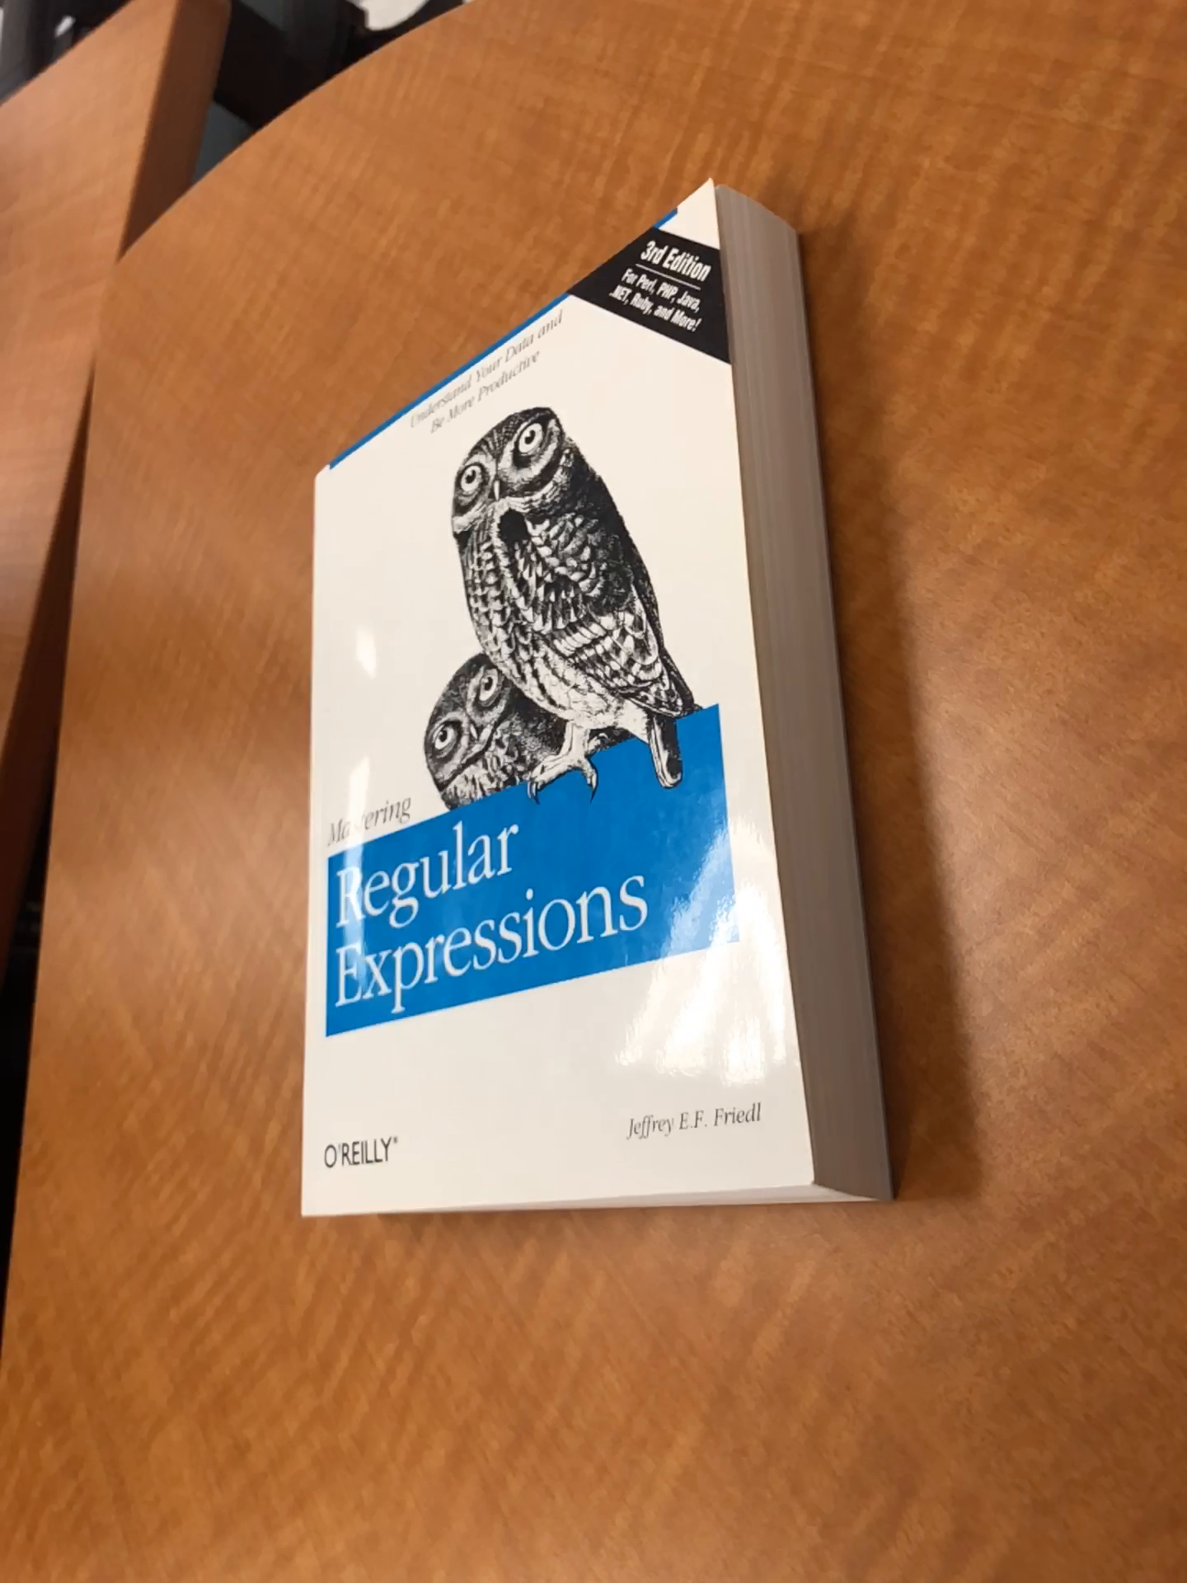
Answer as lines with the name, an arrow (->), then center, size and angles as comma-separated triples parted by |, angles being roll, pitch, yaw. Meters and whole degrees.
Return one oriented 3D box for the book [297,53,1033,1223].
book -> -0.003, -0.023, 0.354 | 0.201, 0.040, 0.260 | -19, 66, 42
